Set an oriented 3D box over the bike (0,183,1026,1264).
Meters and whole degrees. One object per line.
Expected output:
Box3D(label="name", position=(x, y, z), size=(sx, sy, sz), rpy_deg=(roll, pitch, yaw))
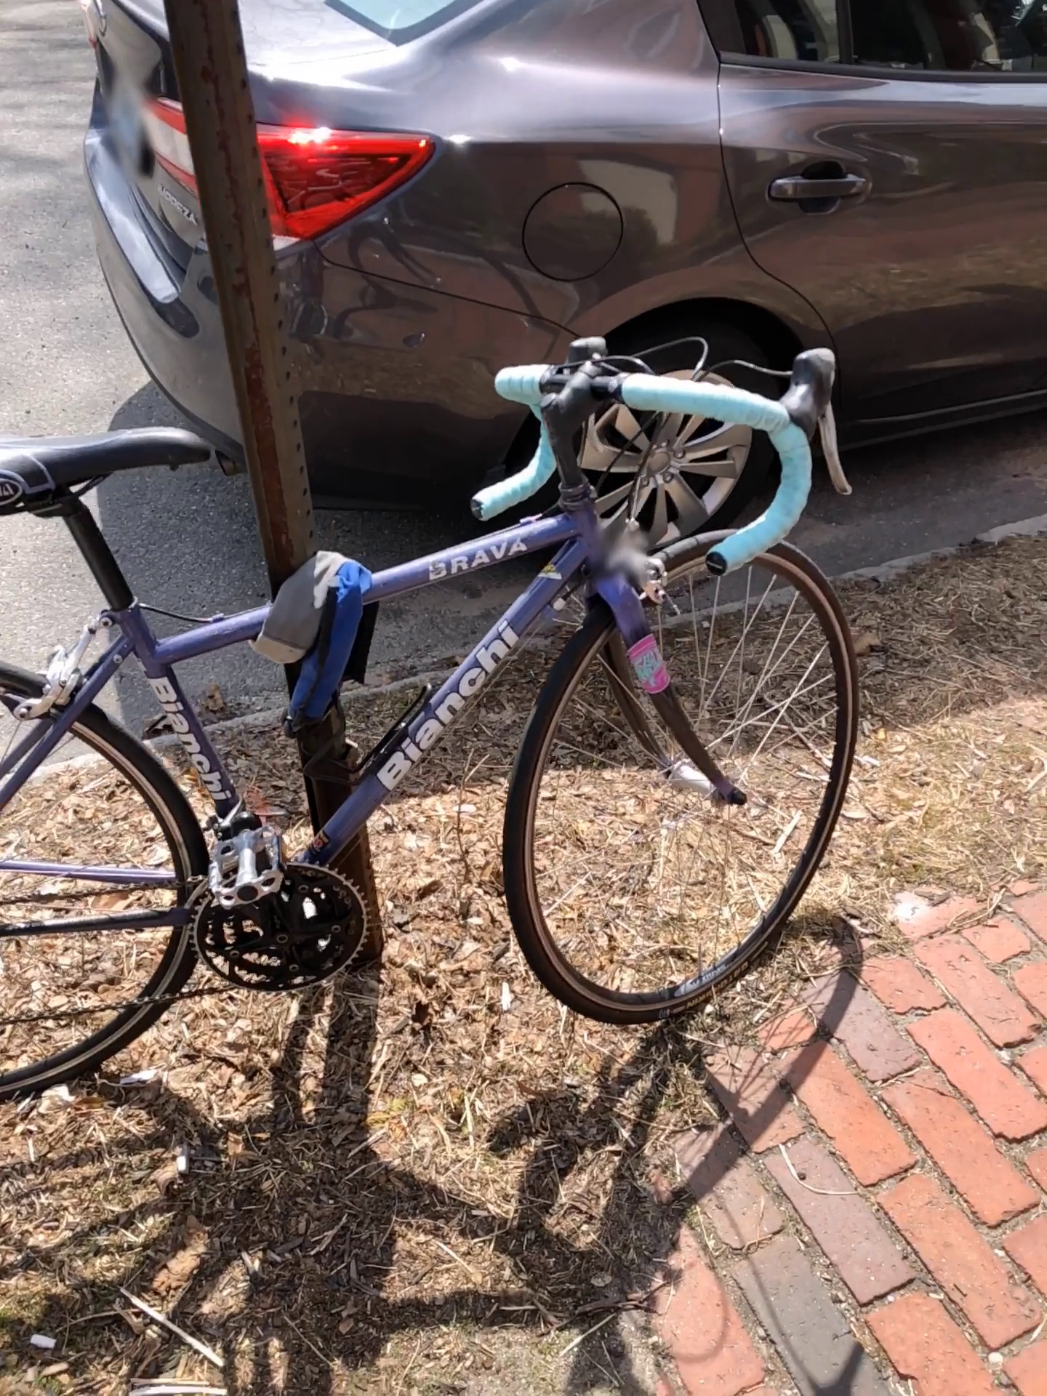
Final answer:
Box3D(label="bike", position=(-0.287, -0.011, 1.329), size=(1.448, 0.734, 0.462), rpy_deg=(-14, 38, -10))
